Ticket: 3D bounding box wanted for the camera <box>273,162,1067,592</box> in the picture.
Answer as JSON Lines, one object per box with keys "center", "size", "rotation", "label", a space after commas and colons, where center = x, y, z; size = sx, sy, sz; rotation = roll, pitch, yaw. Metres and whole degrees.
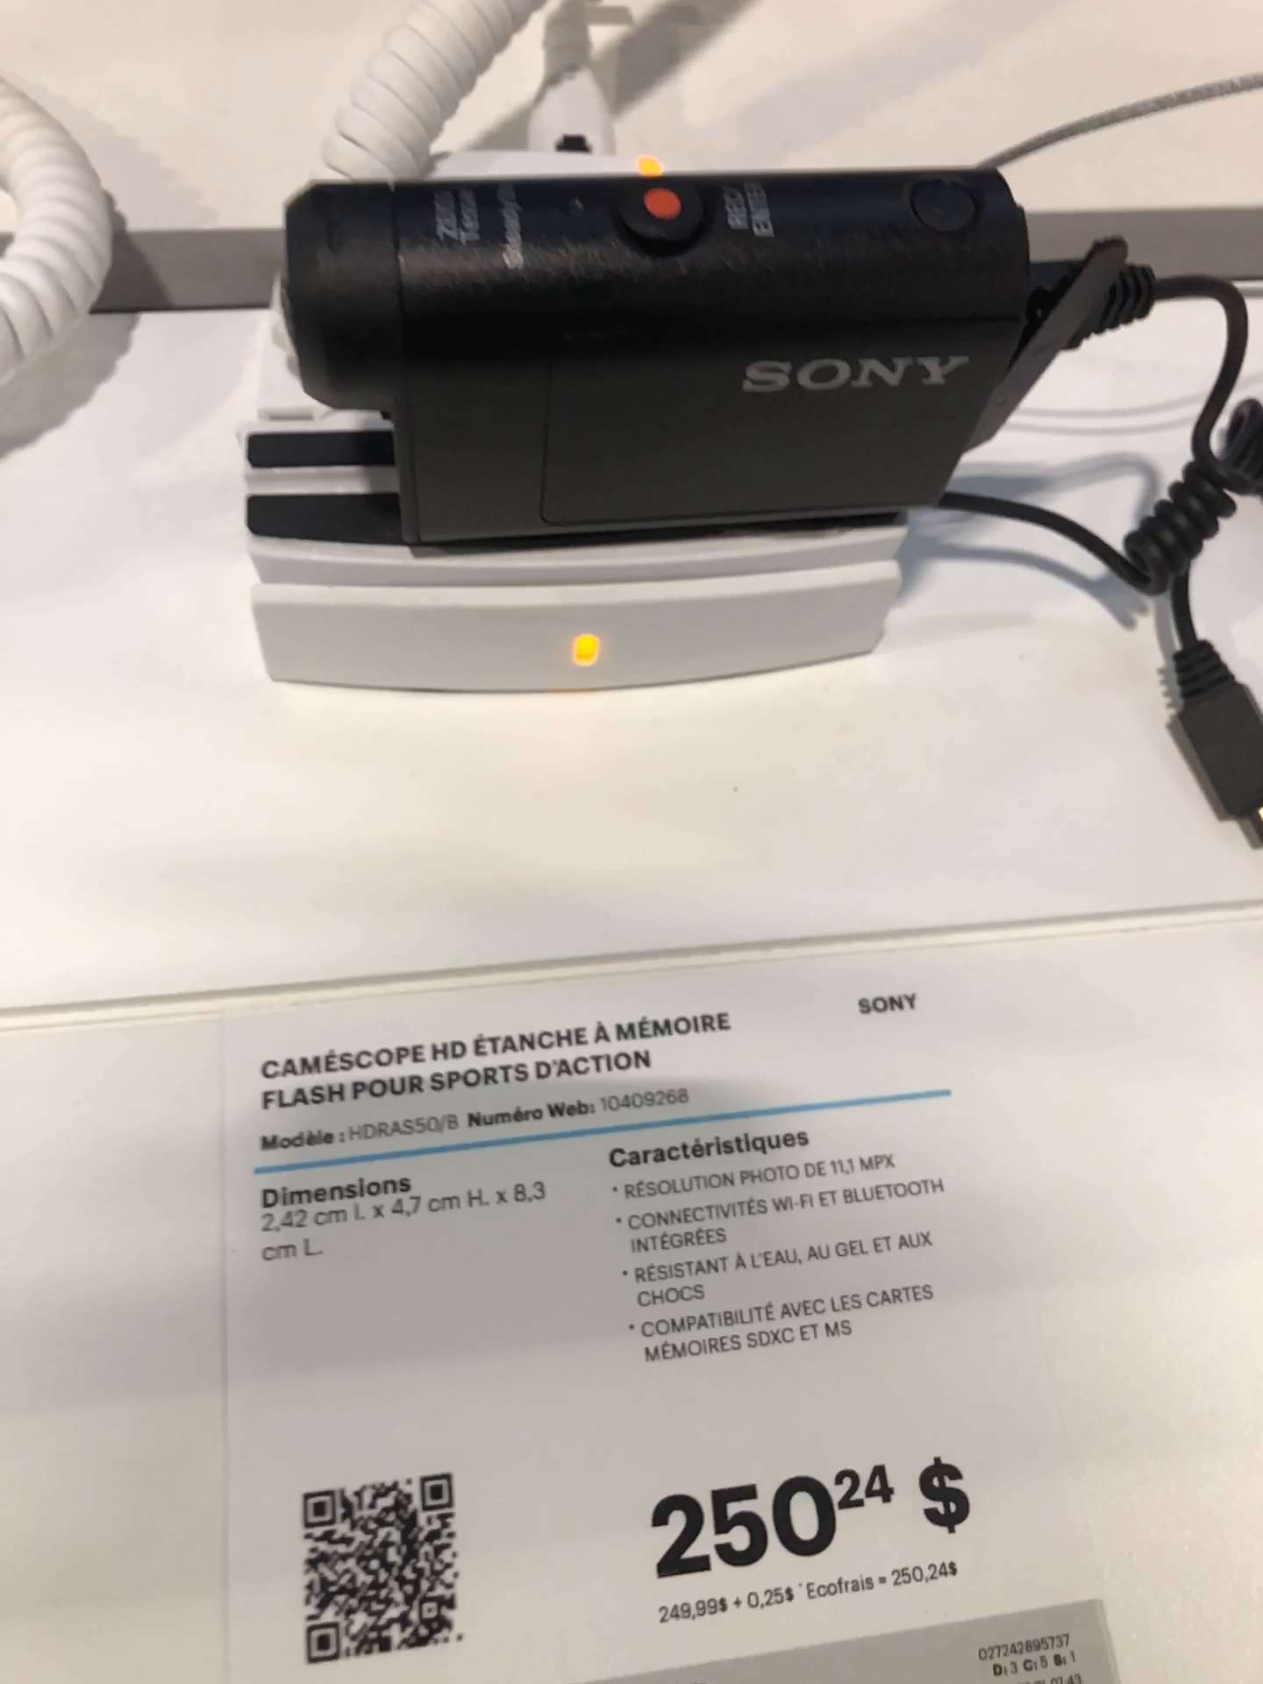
{"center": [0.002, -0.053, 0.166], "size": [0.080, 0.045, 0.020], "rotation": [-4, 65, -7], "label": "camera"}
